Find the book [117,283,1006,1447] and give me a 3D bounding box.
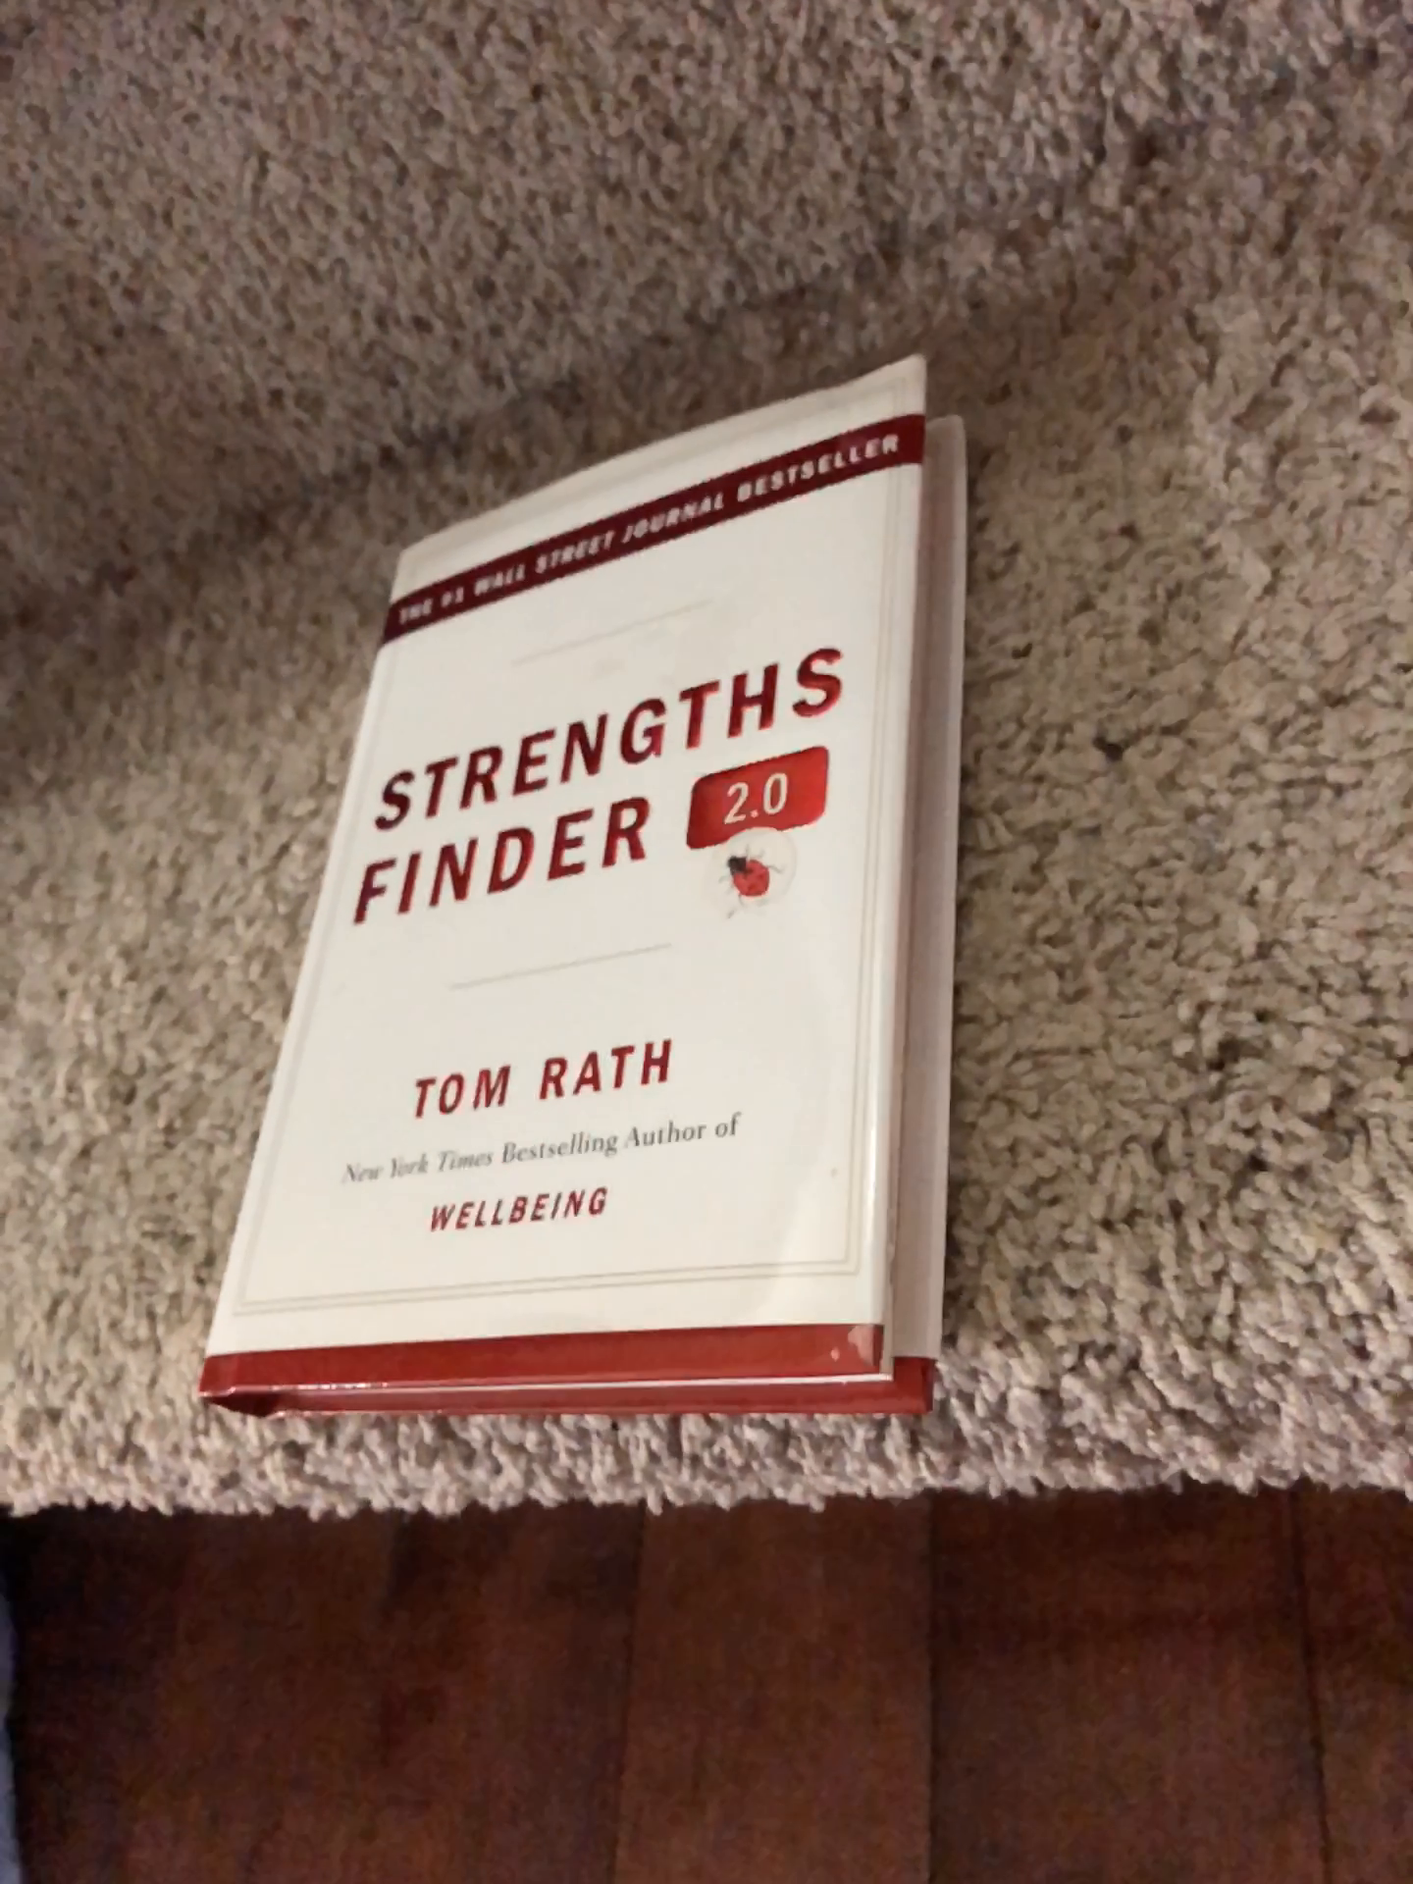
[{"bbox_3d":[-0.019,-0.013,0.275,0.136,0.029,0.190,-10,58,29],"label":"book"}]
